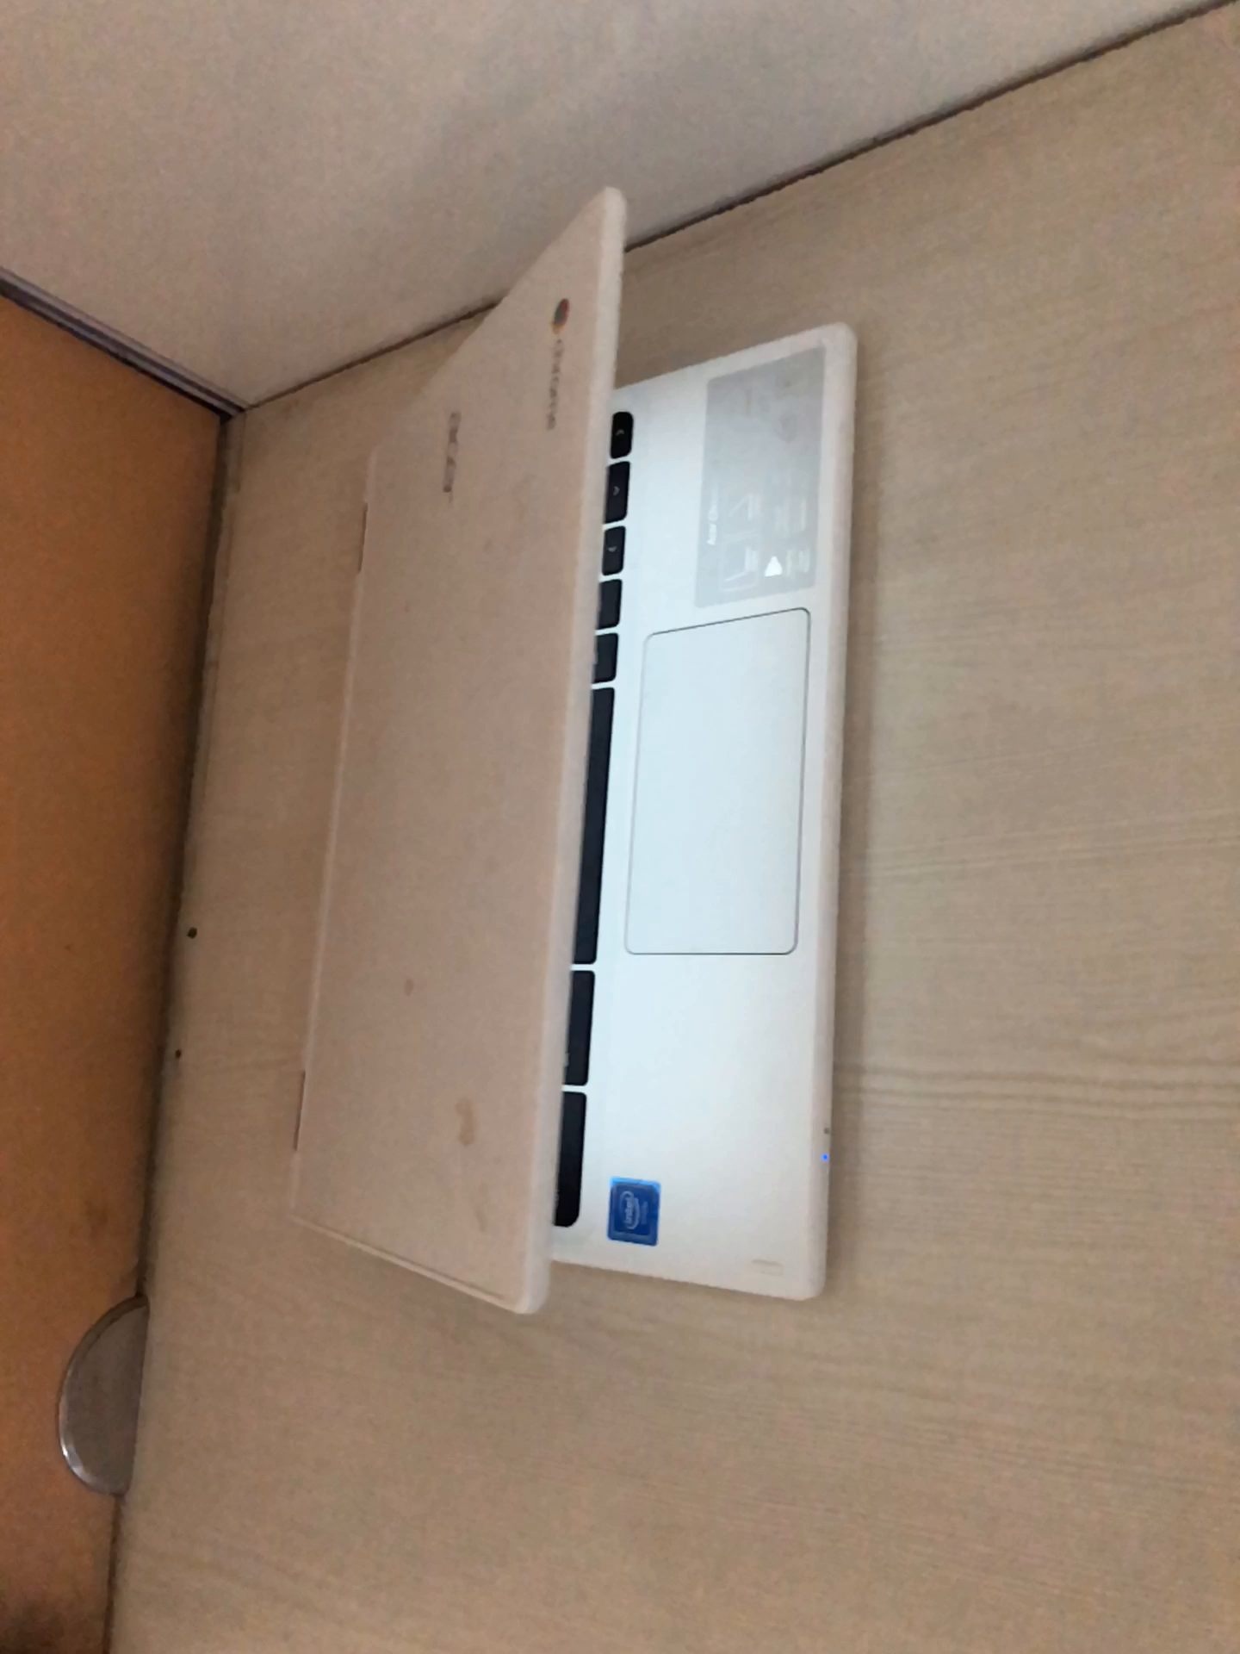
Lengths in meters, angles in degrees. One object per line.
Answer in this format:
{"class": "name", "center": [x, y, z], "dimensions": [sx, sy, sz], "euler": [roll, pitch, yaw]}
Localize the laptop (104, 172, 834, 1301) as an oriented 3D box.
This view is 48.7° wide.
{"class": "laptop", "center": [-0.048, -0.017, 0.430], "dimensions": [0.201, 0.092, 0.283], "euler": [-5, 76, 39]}
